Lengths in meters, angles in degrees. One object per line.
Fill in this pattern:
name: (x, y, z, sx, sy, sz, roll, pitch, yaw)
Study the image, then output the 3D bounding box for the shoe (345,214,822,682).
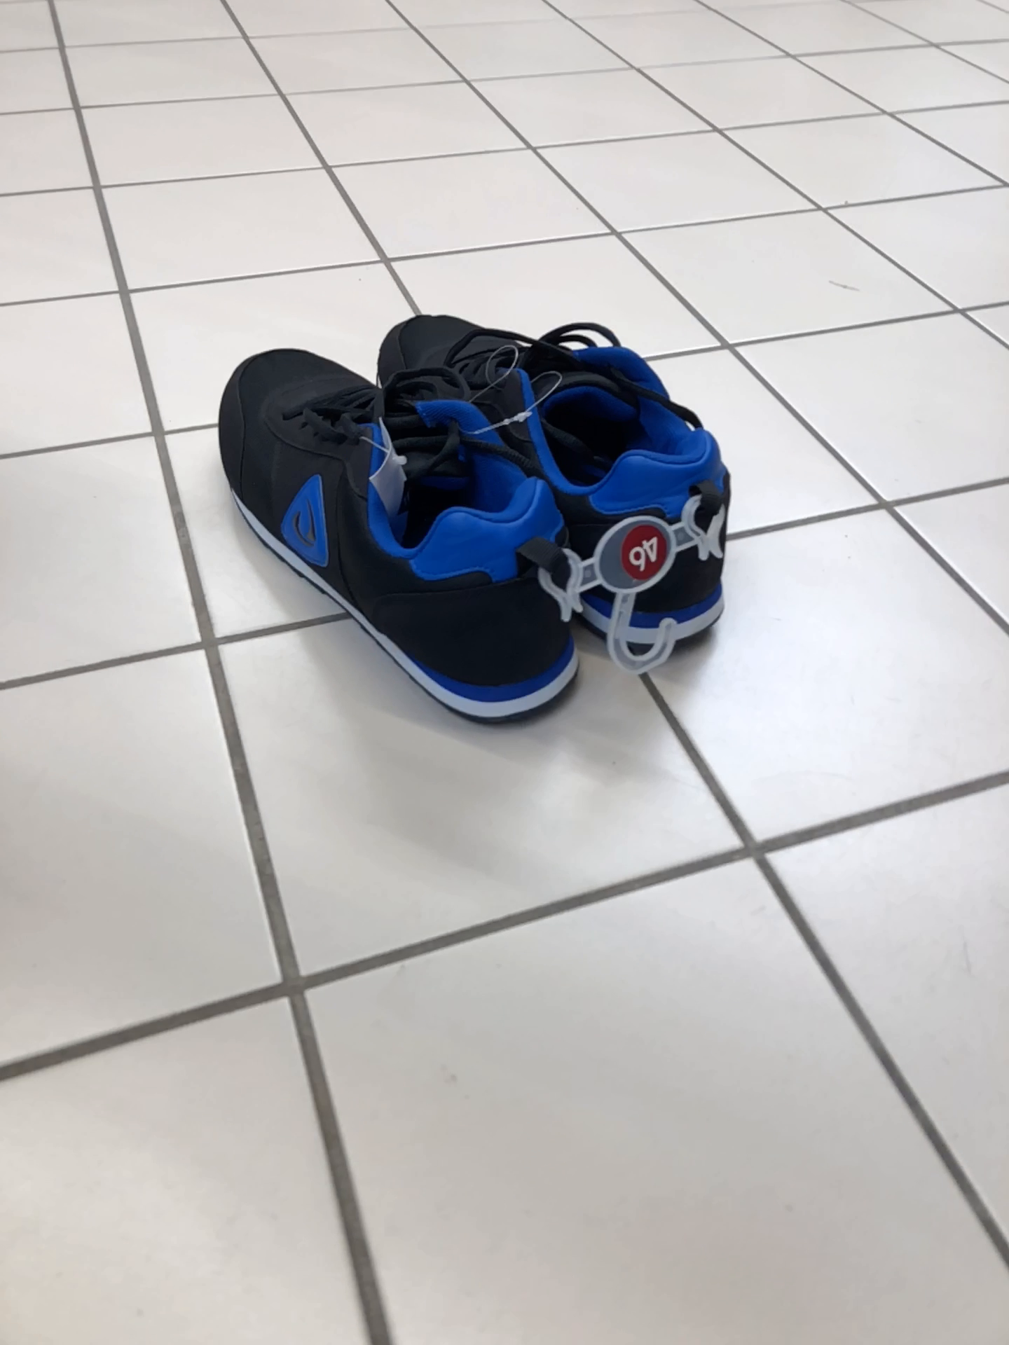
shoe: (0.026, -0.140, 0.616, 0.100, 0.109, 0.291, -23, 50, -24)

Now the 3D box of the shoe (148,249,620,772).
shoe: (-0.073, -0.100, 0.567, 0.100, 0.109, 0.291, -23, 50, -24)
